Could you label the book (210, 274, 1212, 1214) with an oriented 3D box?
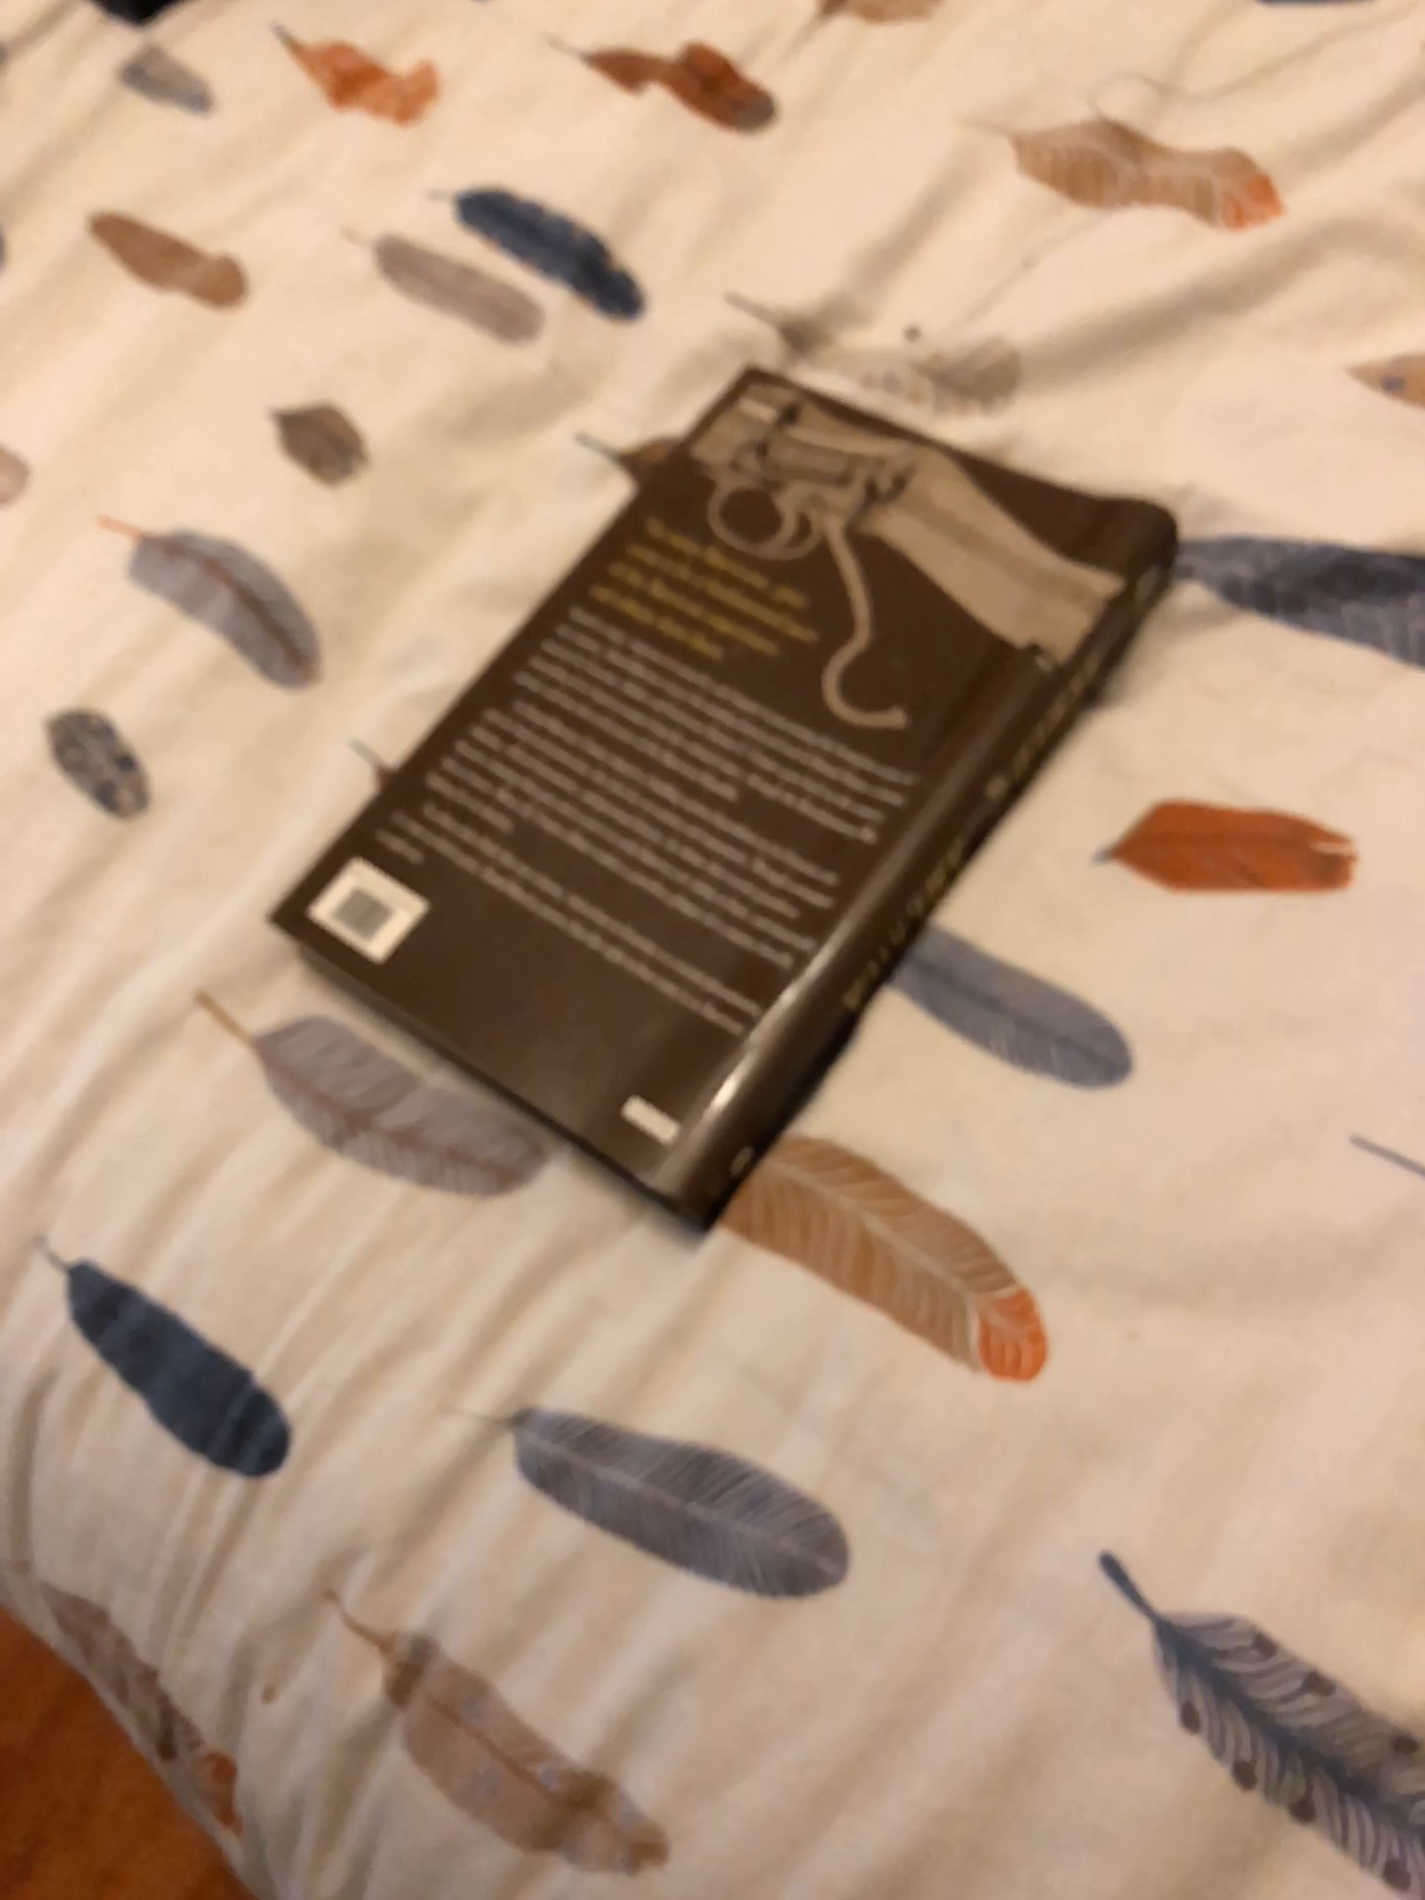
[{"bbox_3d":[-0.002,-0.075,0.459,0.181,0.030,0.240,31,77,28],"label":"book"}]
